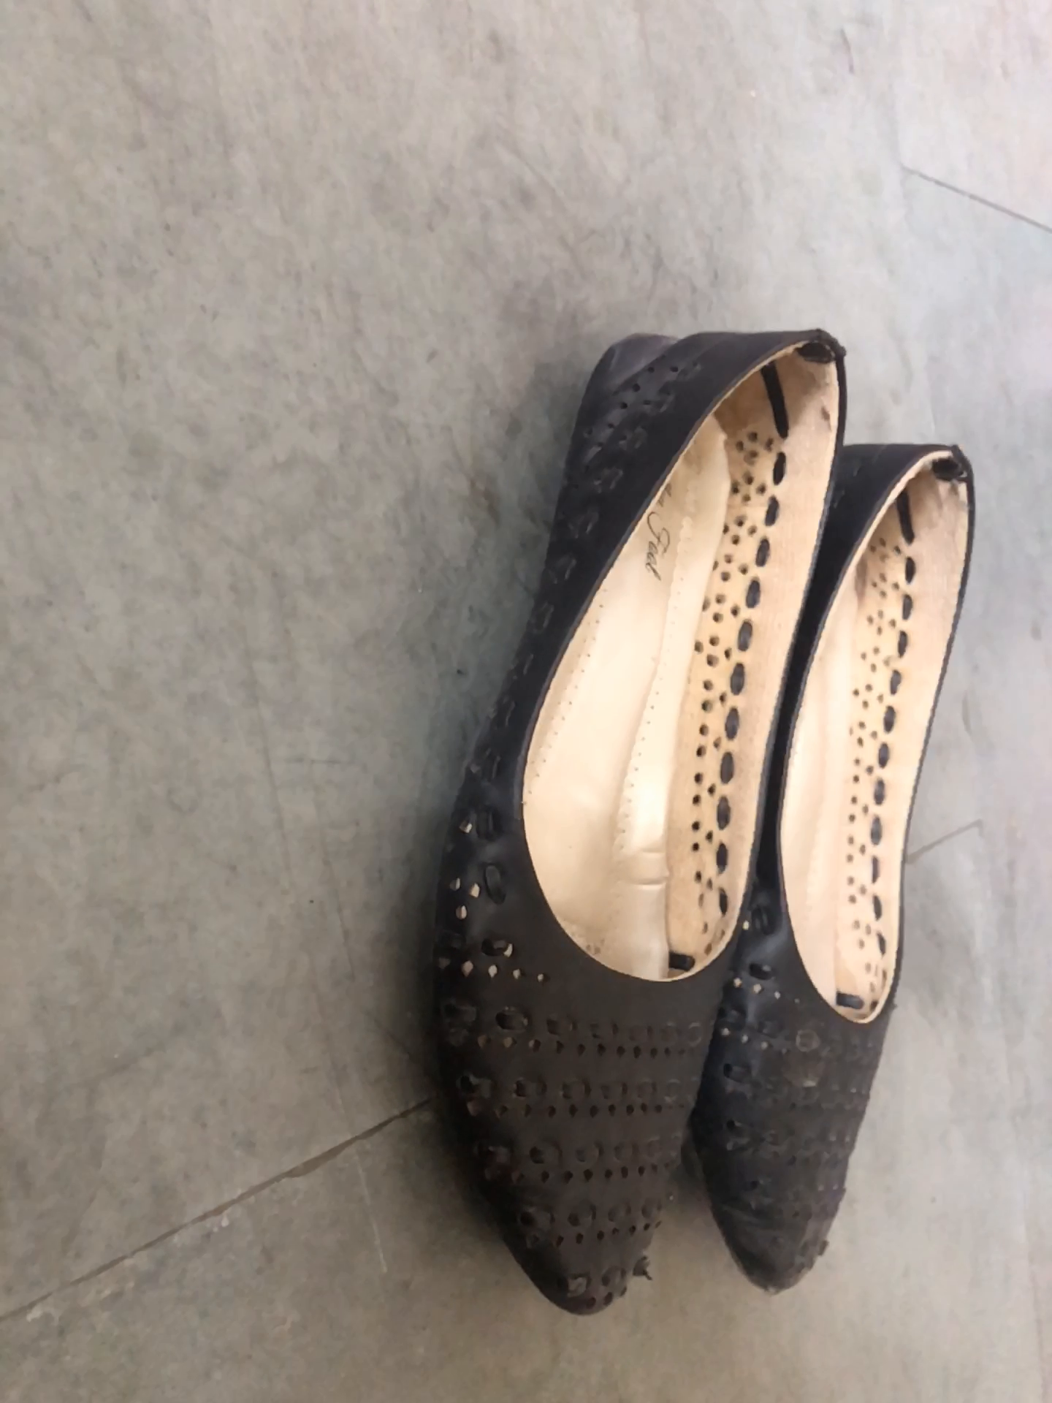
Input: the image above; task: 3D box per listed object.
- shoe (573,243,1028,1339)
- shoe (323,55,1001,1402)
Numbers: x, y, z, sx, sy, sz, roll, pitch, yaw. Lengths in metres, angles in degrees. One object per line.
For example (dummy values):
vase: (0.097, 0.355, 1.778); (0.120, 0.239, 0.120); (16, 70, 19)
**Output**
shoe: (0.091, 0.023, 0.351); (0.101, 0.070, 0.280); (22, 70, -43)
shoe: (0.043, 0.005, 0.284); (0.101, 0.070, 0.270); (22, 75, -43)
